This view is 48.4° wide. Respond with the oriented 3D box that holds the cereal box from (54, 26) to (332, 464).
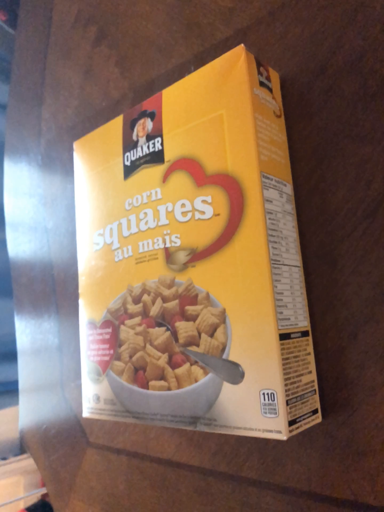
[{"bbox_3d":[-0.022,0.002,0.345,0.221,0.050,0.270,-12,78,37],"label":"cereal box"}]
